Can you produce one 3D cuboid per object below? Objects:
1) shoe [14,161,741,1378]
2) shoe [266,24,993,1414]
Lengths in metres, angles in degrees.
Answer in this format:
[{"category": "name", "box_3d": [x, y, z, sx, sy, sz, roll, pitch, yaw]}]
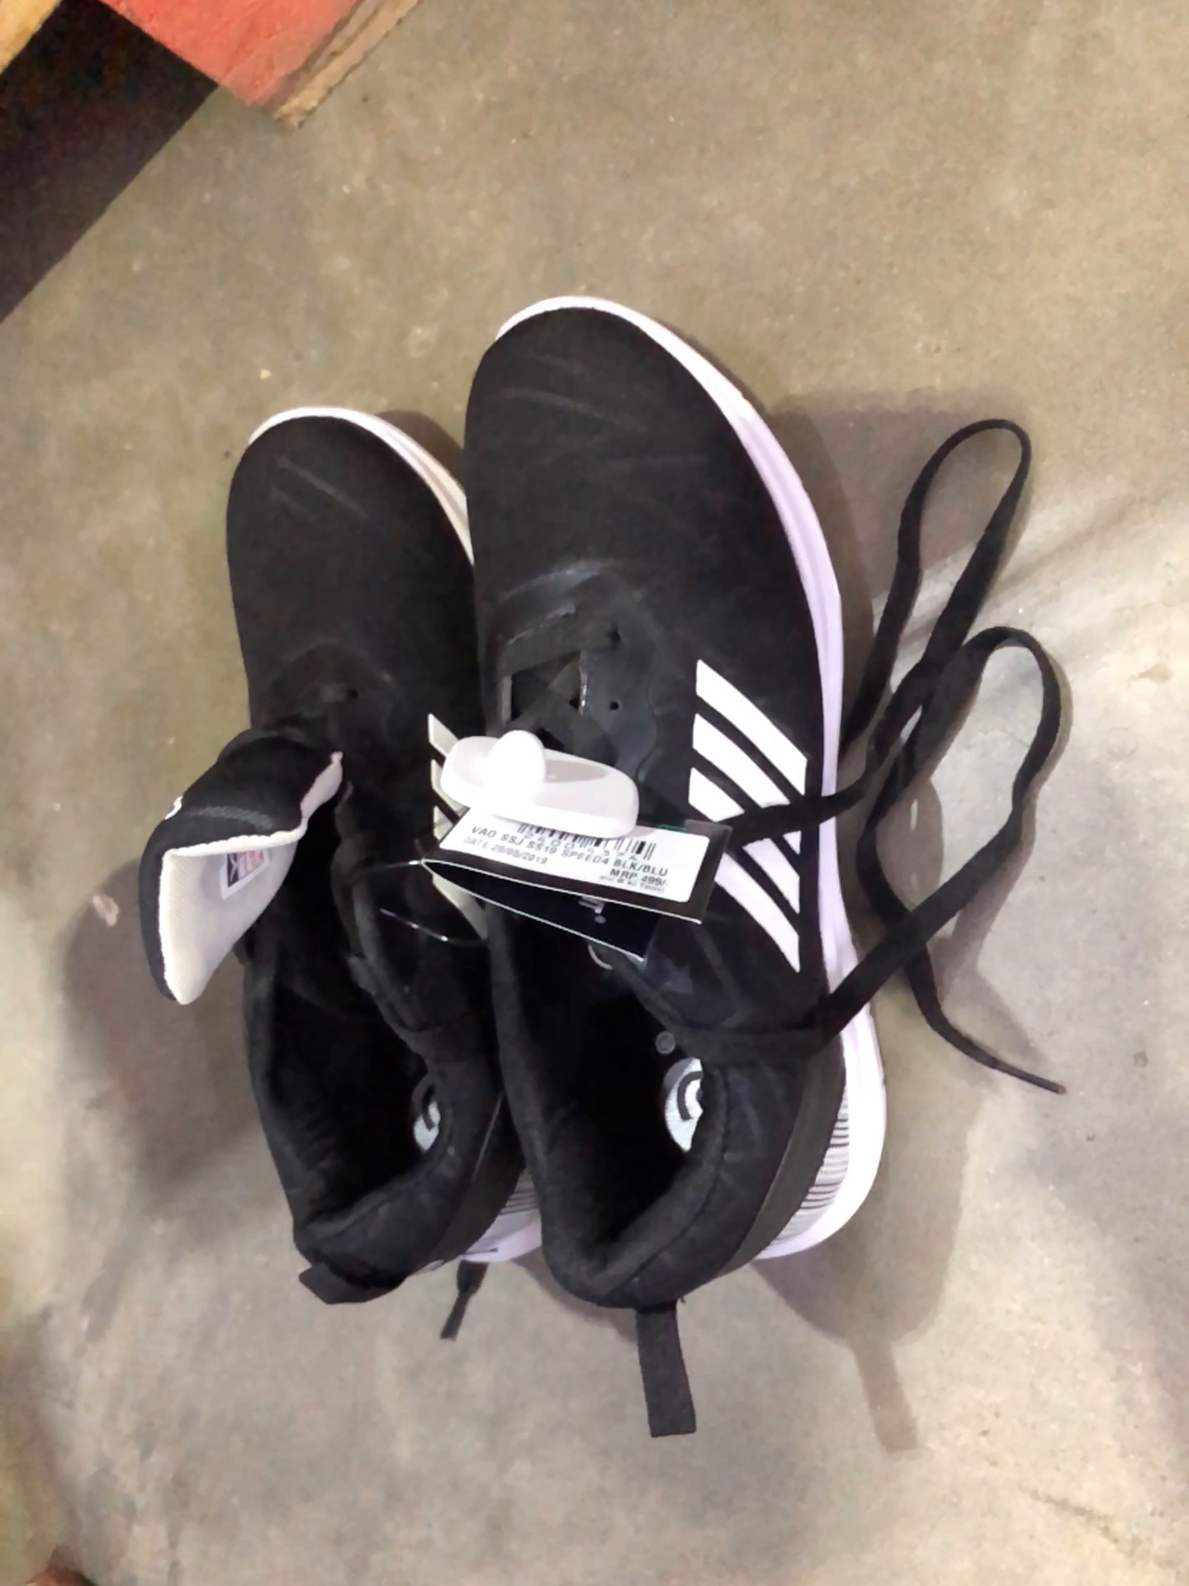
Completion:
[{"category": "shoe", "box_3d": [-0.074, -0.006, 0.435, 0.120, 0.130, 0.330, -21, 76, 27]}, {"category": "shoe", "box_3d": [0.011, -0.015, 0.375, 0.110, 0.130, 0.320, -14, 79, 28]}]
